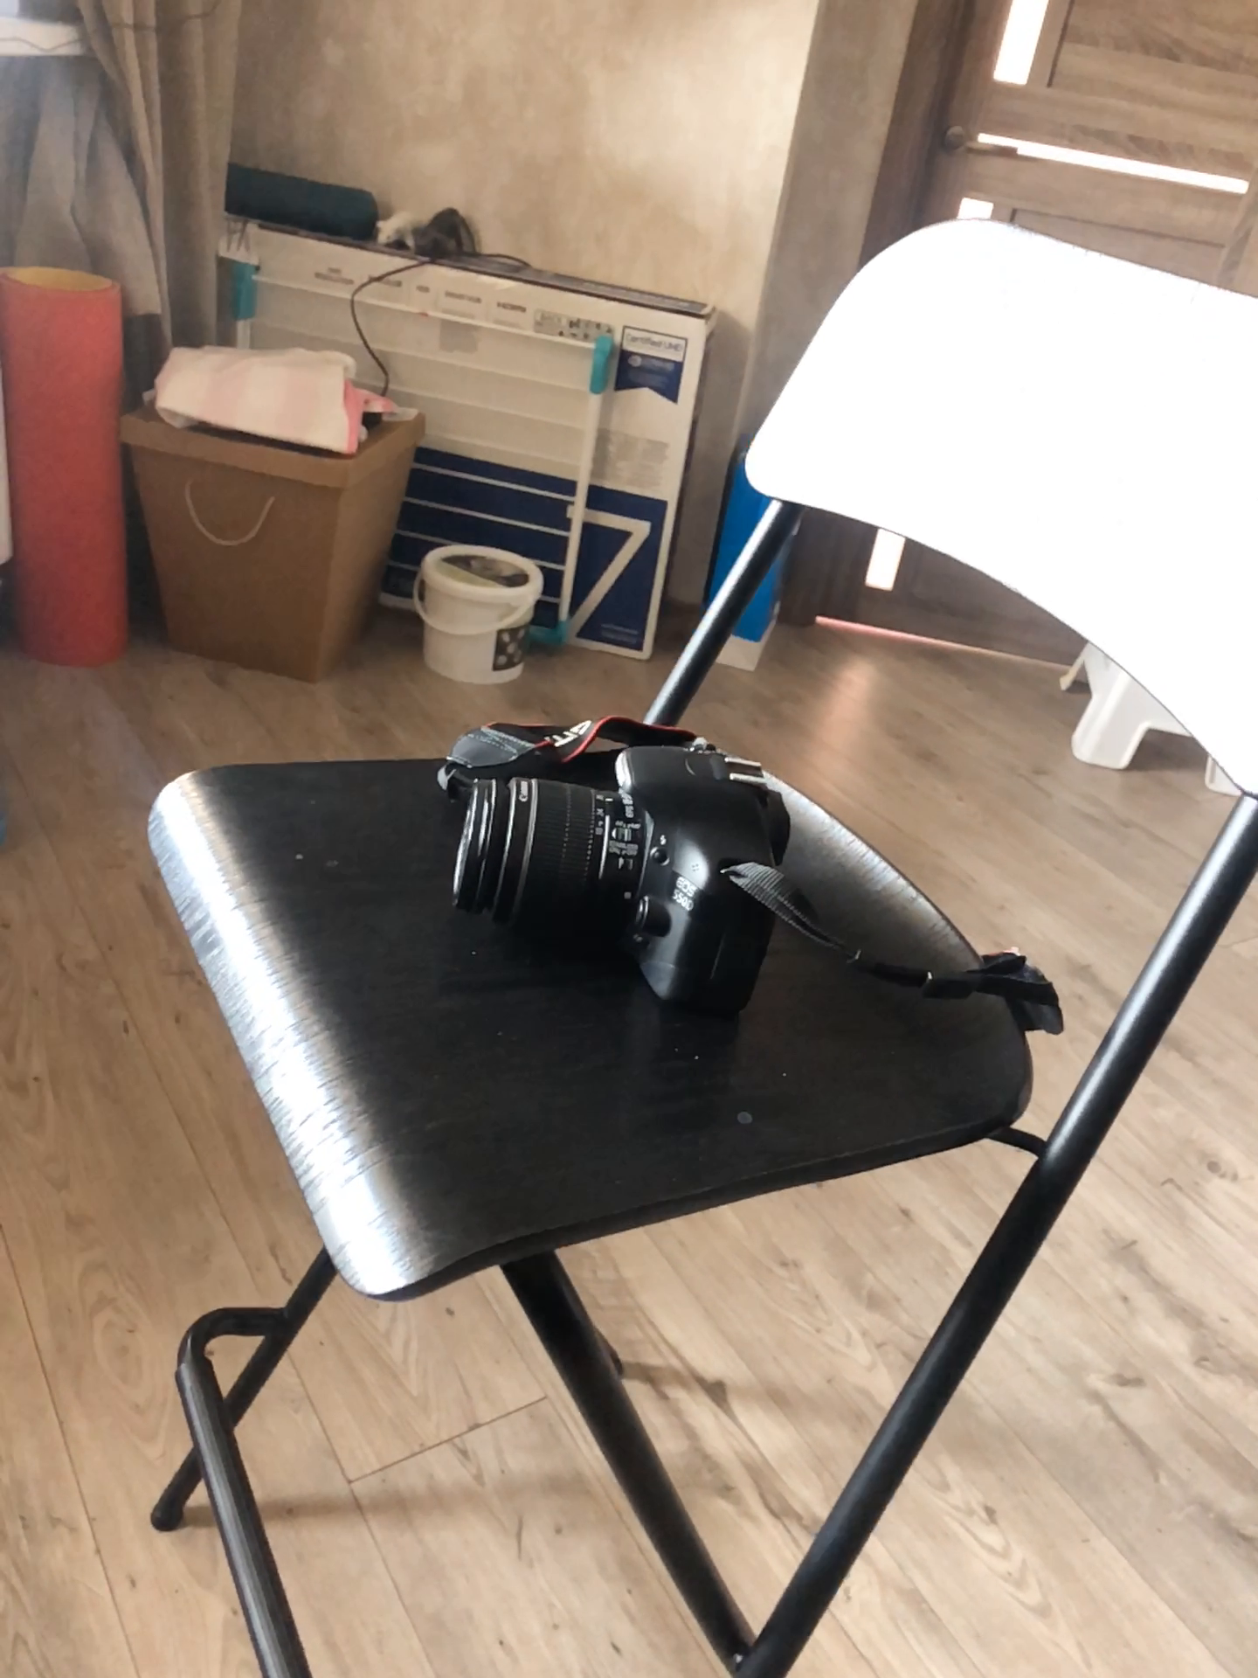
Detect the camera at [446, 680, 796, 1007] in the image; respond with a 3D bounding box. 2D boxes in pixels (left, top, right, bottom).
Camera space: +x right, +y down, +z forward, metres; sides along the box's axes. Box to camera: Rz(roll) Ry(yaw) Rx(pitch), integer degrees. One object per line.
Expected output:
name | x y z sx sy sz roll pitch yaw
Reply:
camera | -0.010 0.000 0.653 0.140 0.092 0.121 5 30 -8
